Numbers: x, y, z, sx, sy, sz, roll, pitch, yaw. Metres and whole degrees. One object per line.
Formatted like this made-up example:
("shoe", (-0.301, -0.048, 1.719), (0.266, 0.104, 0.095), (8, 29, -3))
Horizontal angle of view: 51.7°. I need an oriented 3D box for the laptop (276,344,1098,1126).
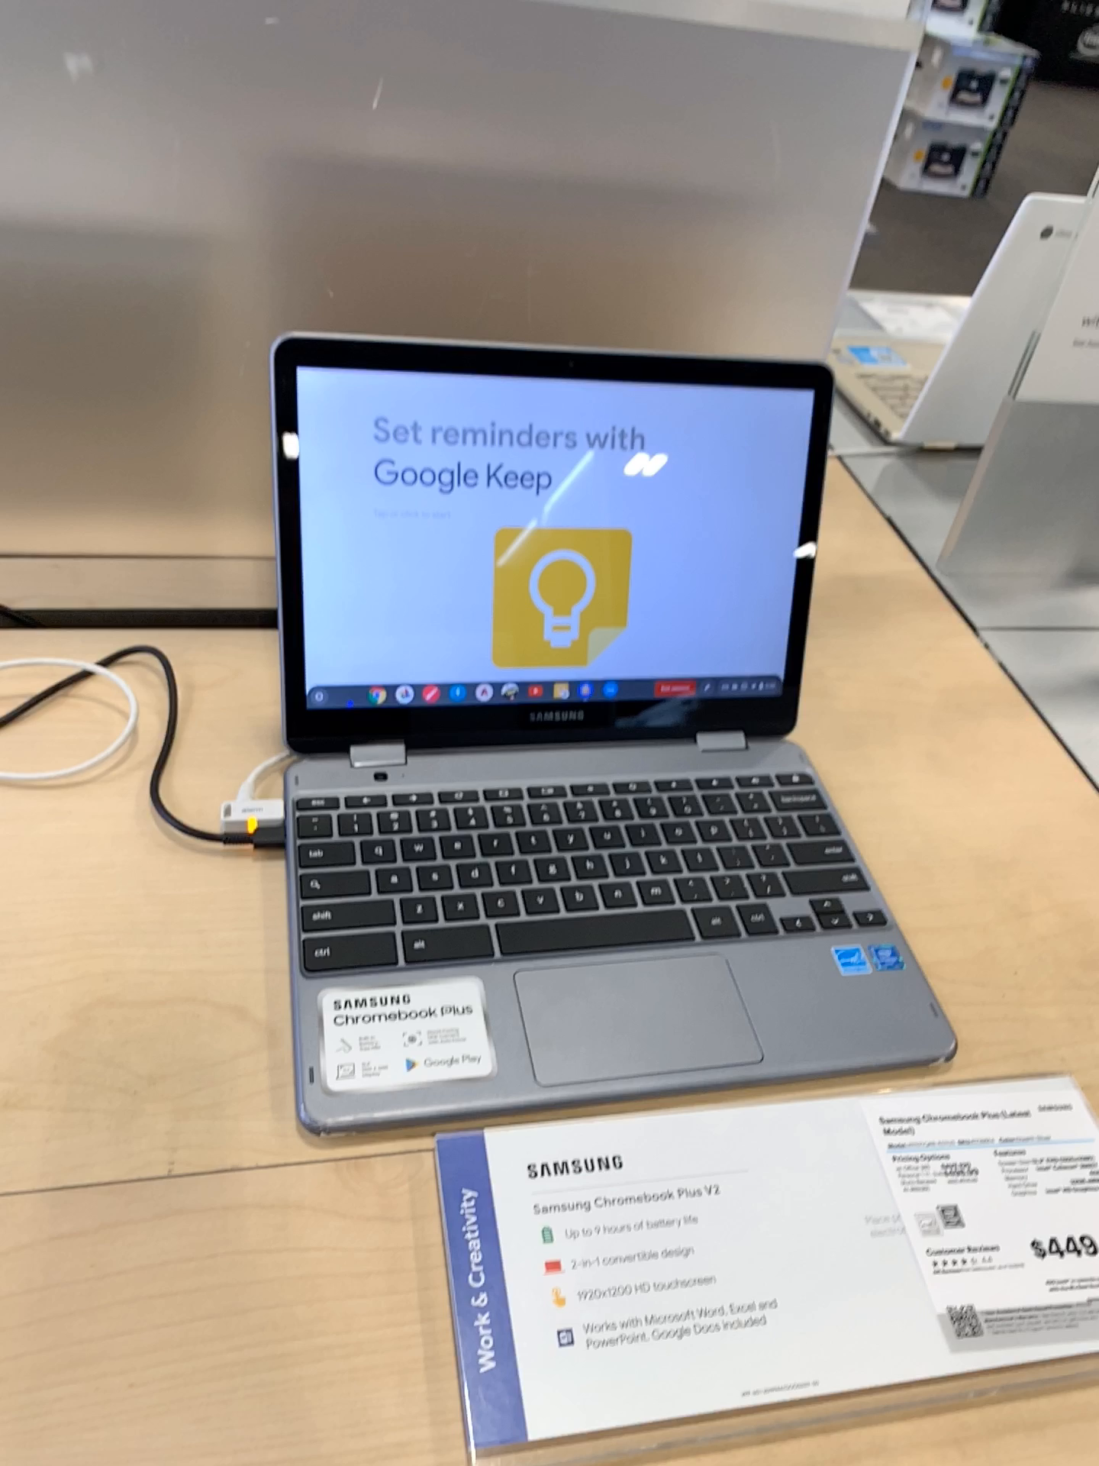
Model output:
("laptop", (0.027, -0.018, 0.504), (0.274, 0.183, 0.276), (-2, 42, -14))
